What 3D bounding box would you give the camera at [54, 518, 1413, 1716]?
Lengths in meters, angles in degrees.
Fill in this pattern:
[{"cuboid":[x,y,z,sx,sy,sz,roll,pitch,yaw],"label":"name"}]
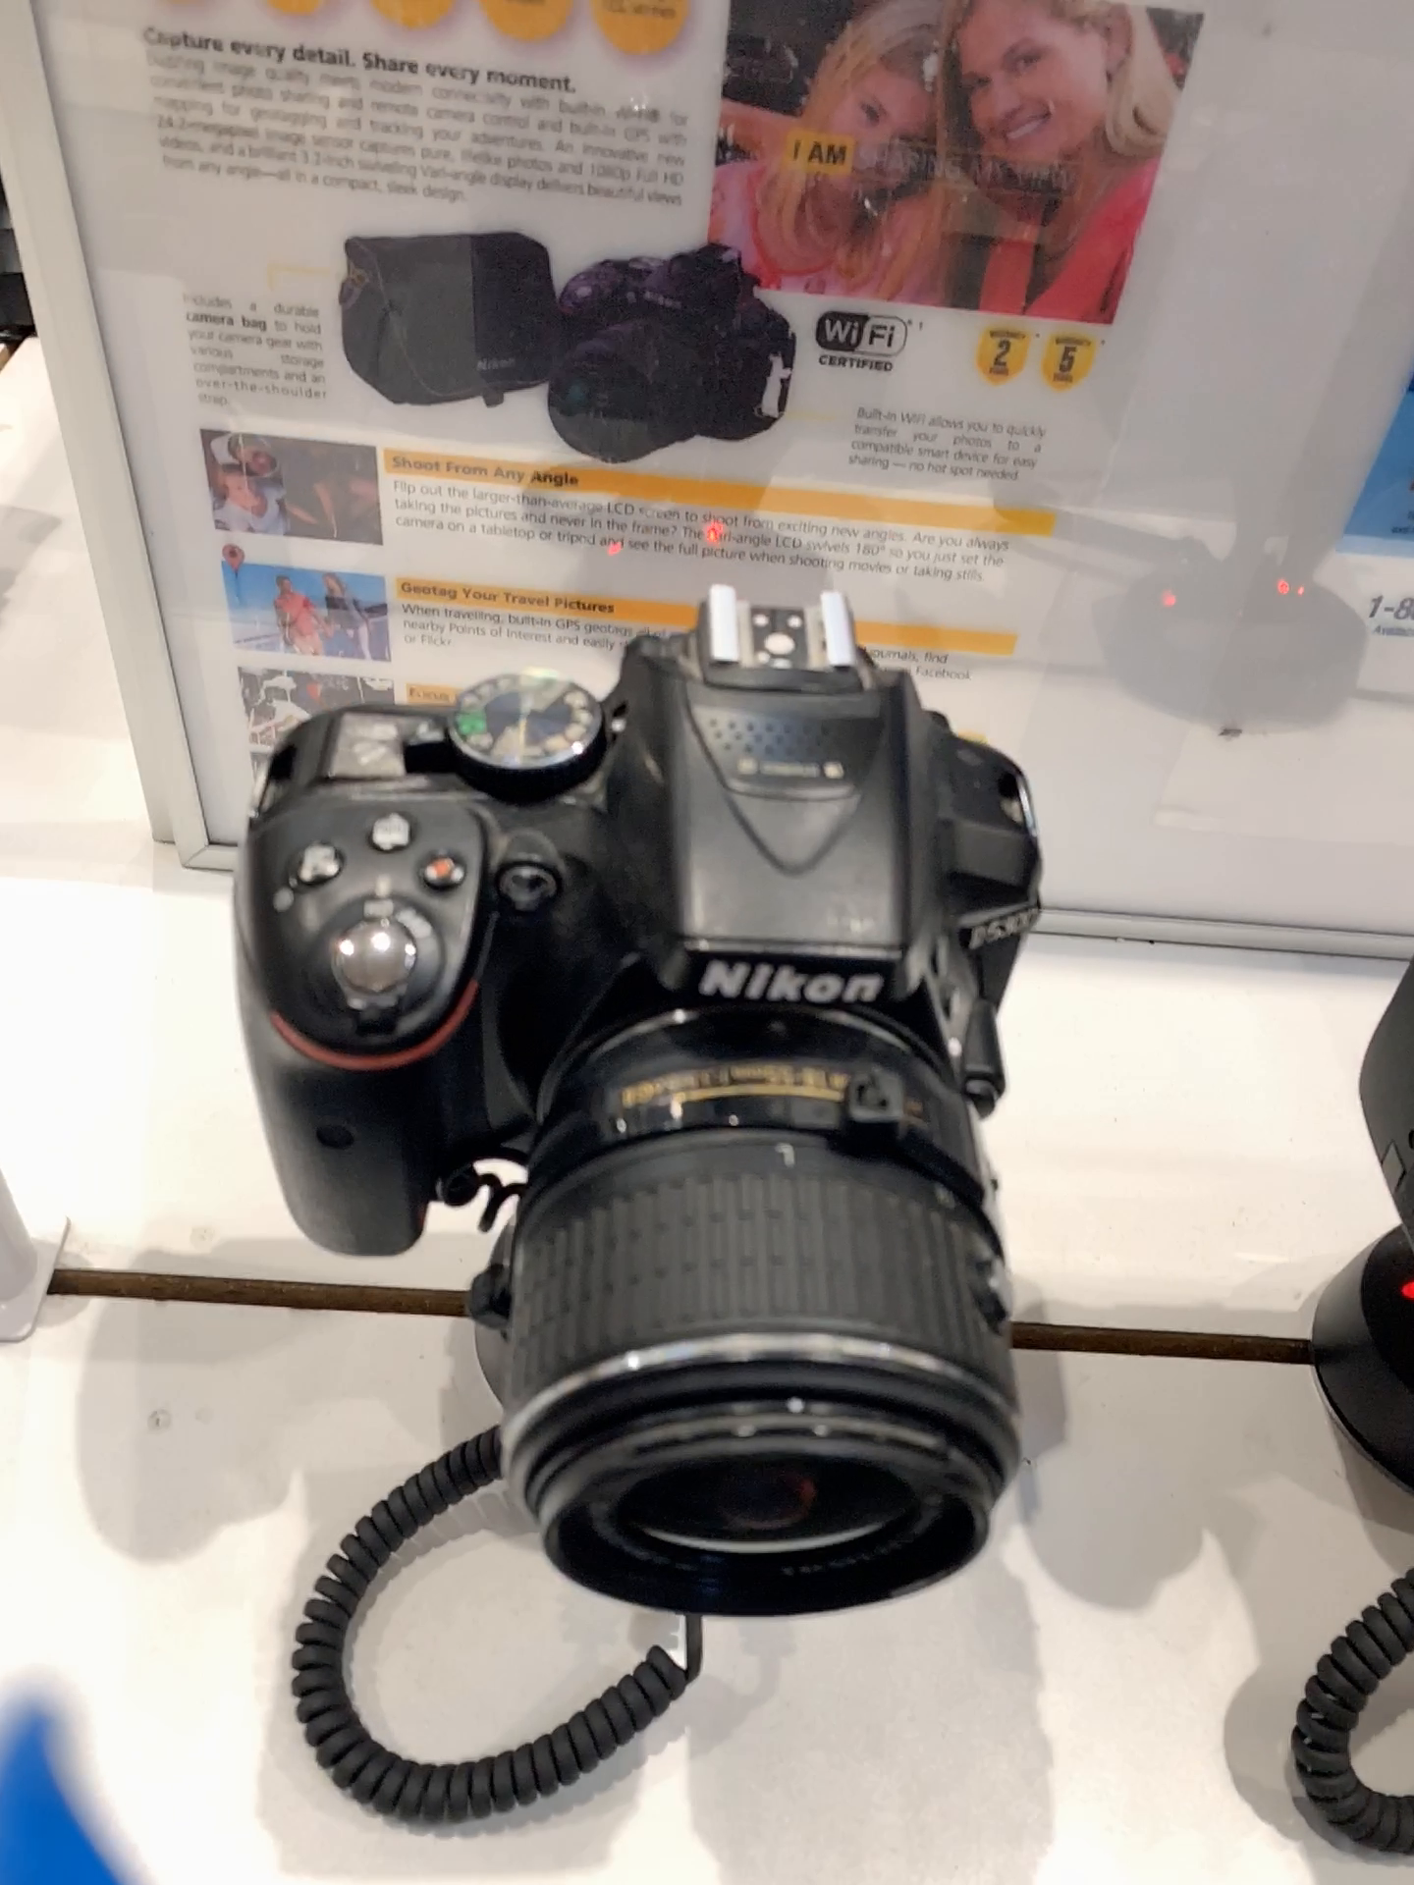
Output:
[{"cuboid":[0.000,0.014,0.196,0.120,0.069,0.141,1,46,-7],"label":"camera"}]
